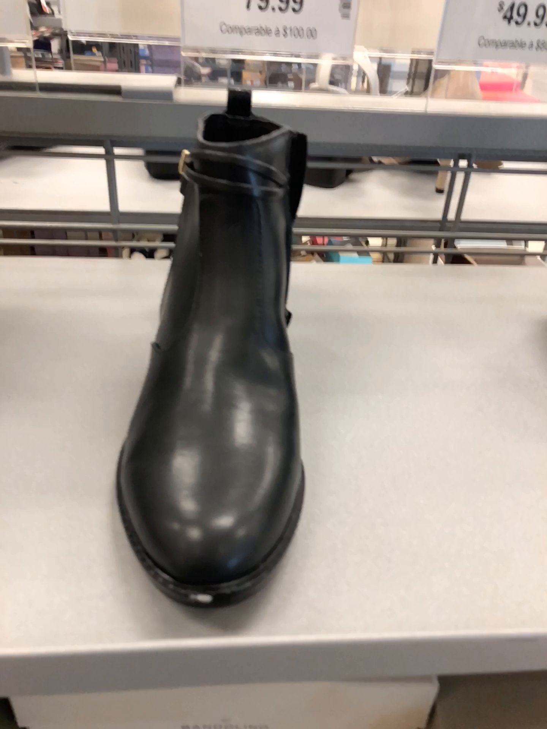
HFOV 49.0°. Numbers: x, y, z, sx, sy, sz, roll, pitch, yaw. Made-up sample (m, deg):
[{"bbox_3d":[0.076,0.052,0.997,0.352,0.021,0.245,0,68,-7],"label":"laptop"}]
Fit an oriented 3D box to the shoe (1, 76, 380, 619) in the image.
[{"bbox_3d":[-0.026,-0.032,0.280,0.090,0.149,0.232,2,34,-3],"label":"shoe"}]
